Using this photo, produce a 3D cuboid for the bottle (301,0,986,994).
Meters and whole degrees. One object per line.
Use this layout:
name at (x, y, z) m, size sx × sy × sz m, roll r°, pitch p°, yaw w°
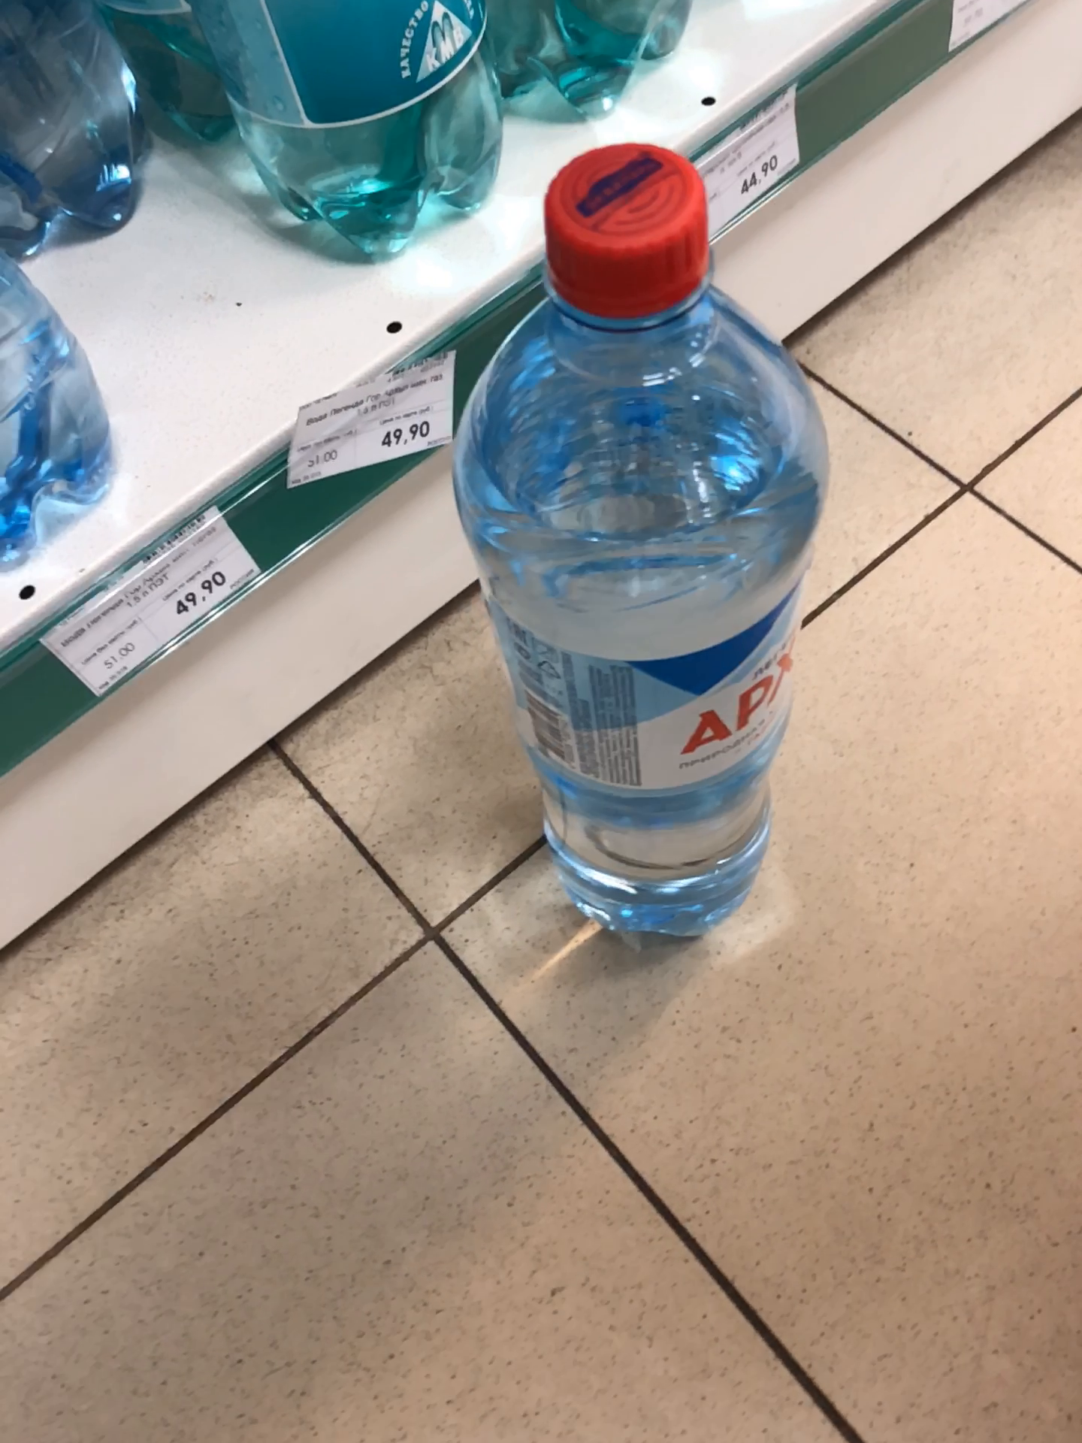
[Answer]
bottle at (0.036, -0.020, 0.341) m, size 0.085 × 0.306 × 0.094 m, roll -3°, pitch 63°, yaw 6°
